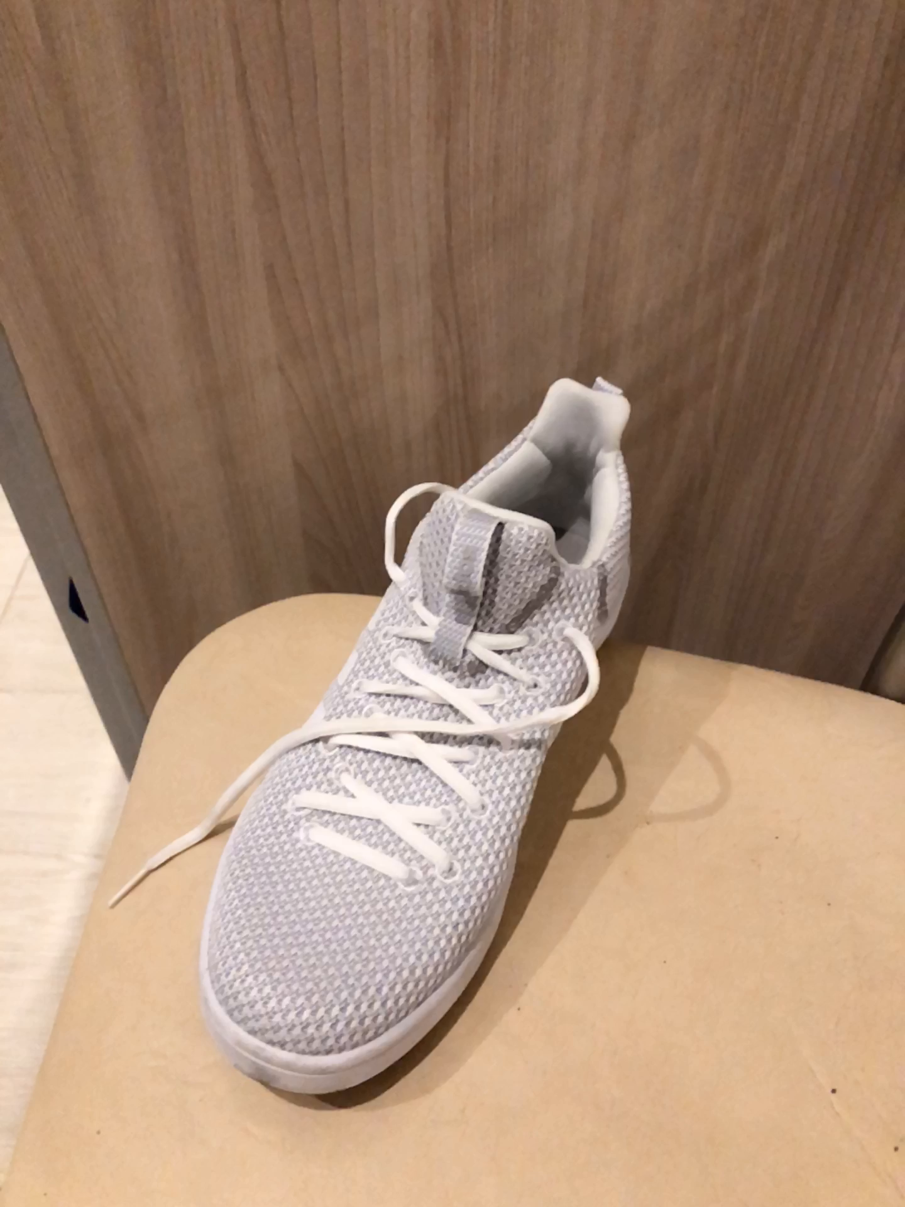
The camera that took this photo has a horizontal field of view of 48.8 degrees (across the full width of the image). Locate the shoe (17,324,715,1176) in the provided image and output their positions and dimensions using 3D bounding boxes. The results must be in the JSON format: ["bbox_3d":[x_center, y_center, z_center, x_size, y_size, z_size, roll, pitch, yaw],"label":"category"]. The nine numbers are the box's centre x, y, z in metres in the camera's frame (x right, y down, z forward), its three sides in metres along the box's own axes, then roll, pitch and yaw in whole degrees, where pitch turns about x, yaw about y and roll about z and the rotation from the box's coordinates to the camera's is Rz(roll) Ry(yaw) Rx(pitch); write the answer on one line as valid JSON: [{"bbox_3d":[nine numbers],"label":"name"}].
[{"bbox_3d":[-0.004,0.033,0.399,0.110,0.129,0.302,20,51,18],"label":"shoe"}]
